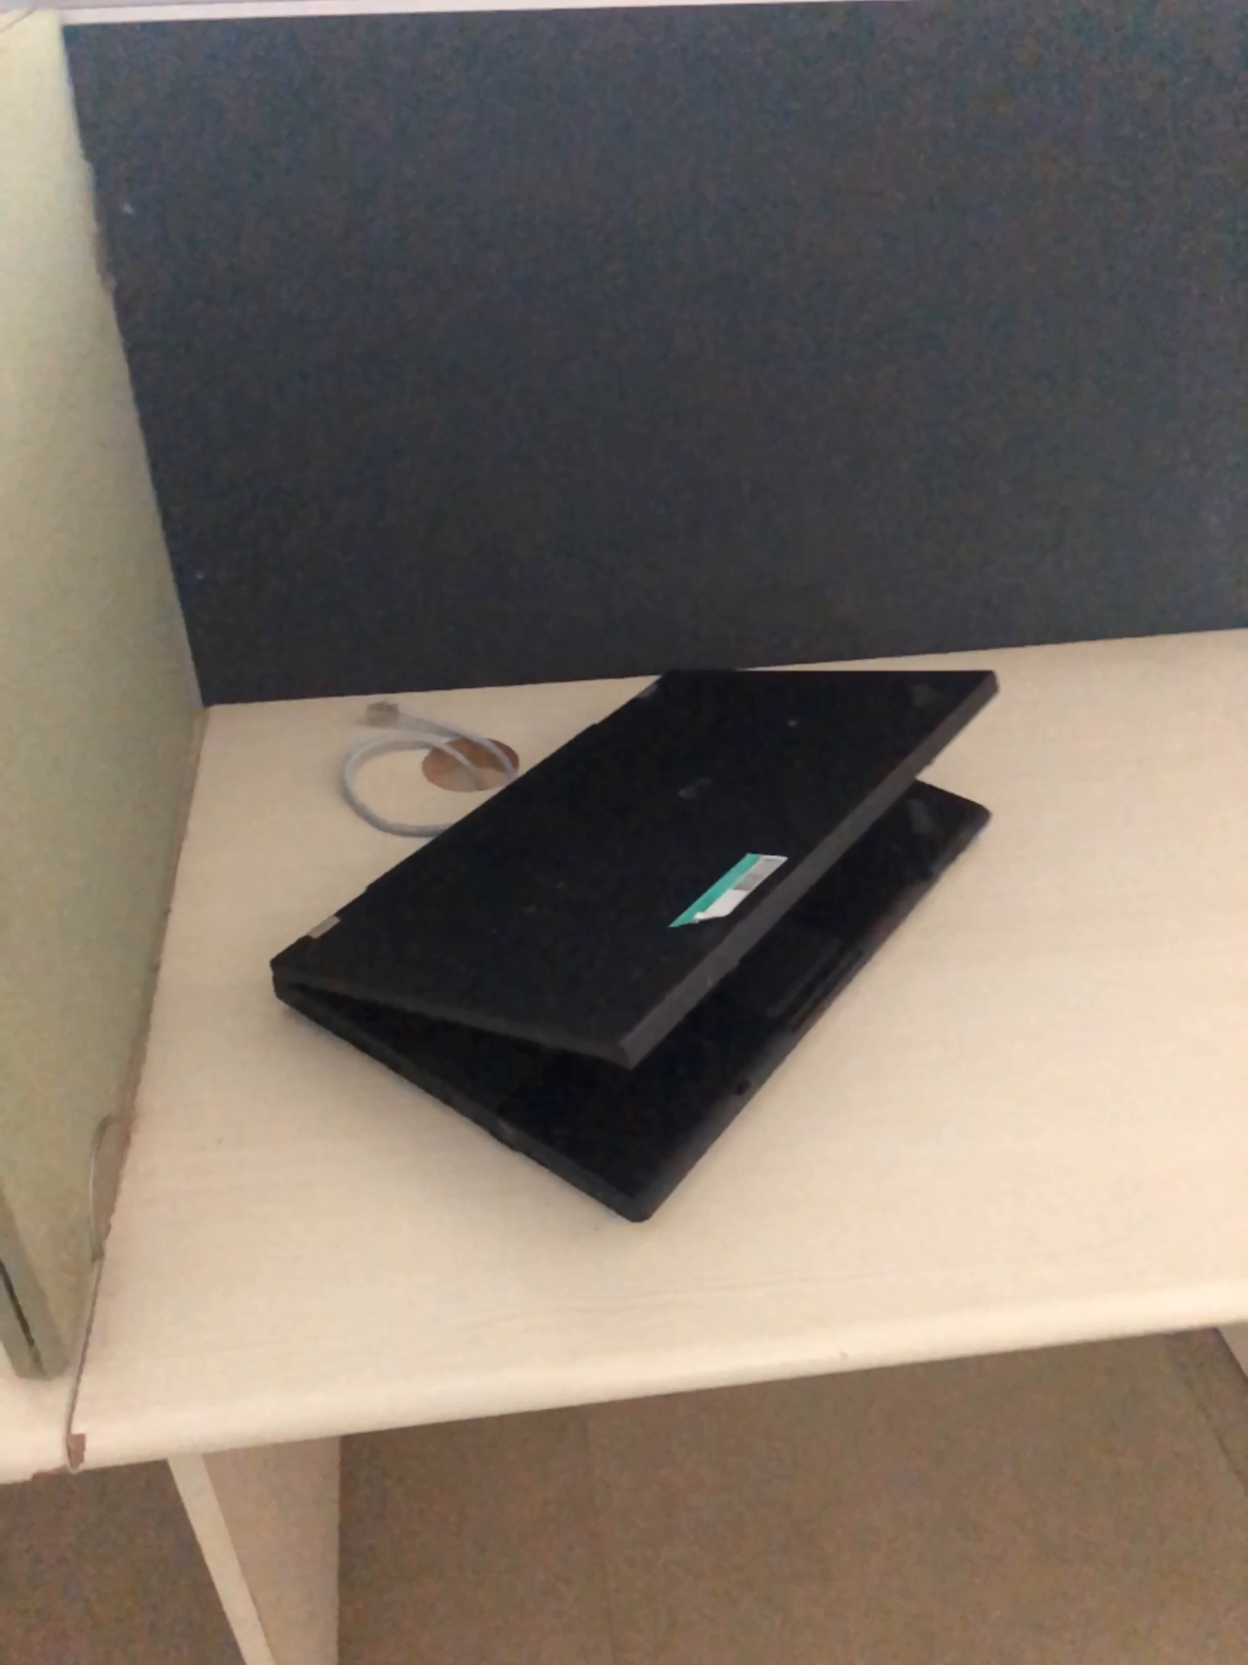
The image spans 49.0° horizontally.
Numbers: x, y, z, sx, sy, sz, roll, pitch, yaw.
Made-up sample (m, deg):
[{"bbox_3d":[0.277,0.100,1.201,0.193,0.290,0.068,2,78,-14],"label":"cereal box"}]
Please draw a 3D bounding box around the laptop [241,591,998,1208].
[{"bbox_3d":[0.016,0.003,0.750,0.235,0.077,0.365,24,42,27],"label":"laptop"}]
